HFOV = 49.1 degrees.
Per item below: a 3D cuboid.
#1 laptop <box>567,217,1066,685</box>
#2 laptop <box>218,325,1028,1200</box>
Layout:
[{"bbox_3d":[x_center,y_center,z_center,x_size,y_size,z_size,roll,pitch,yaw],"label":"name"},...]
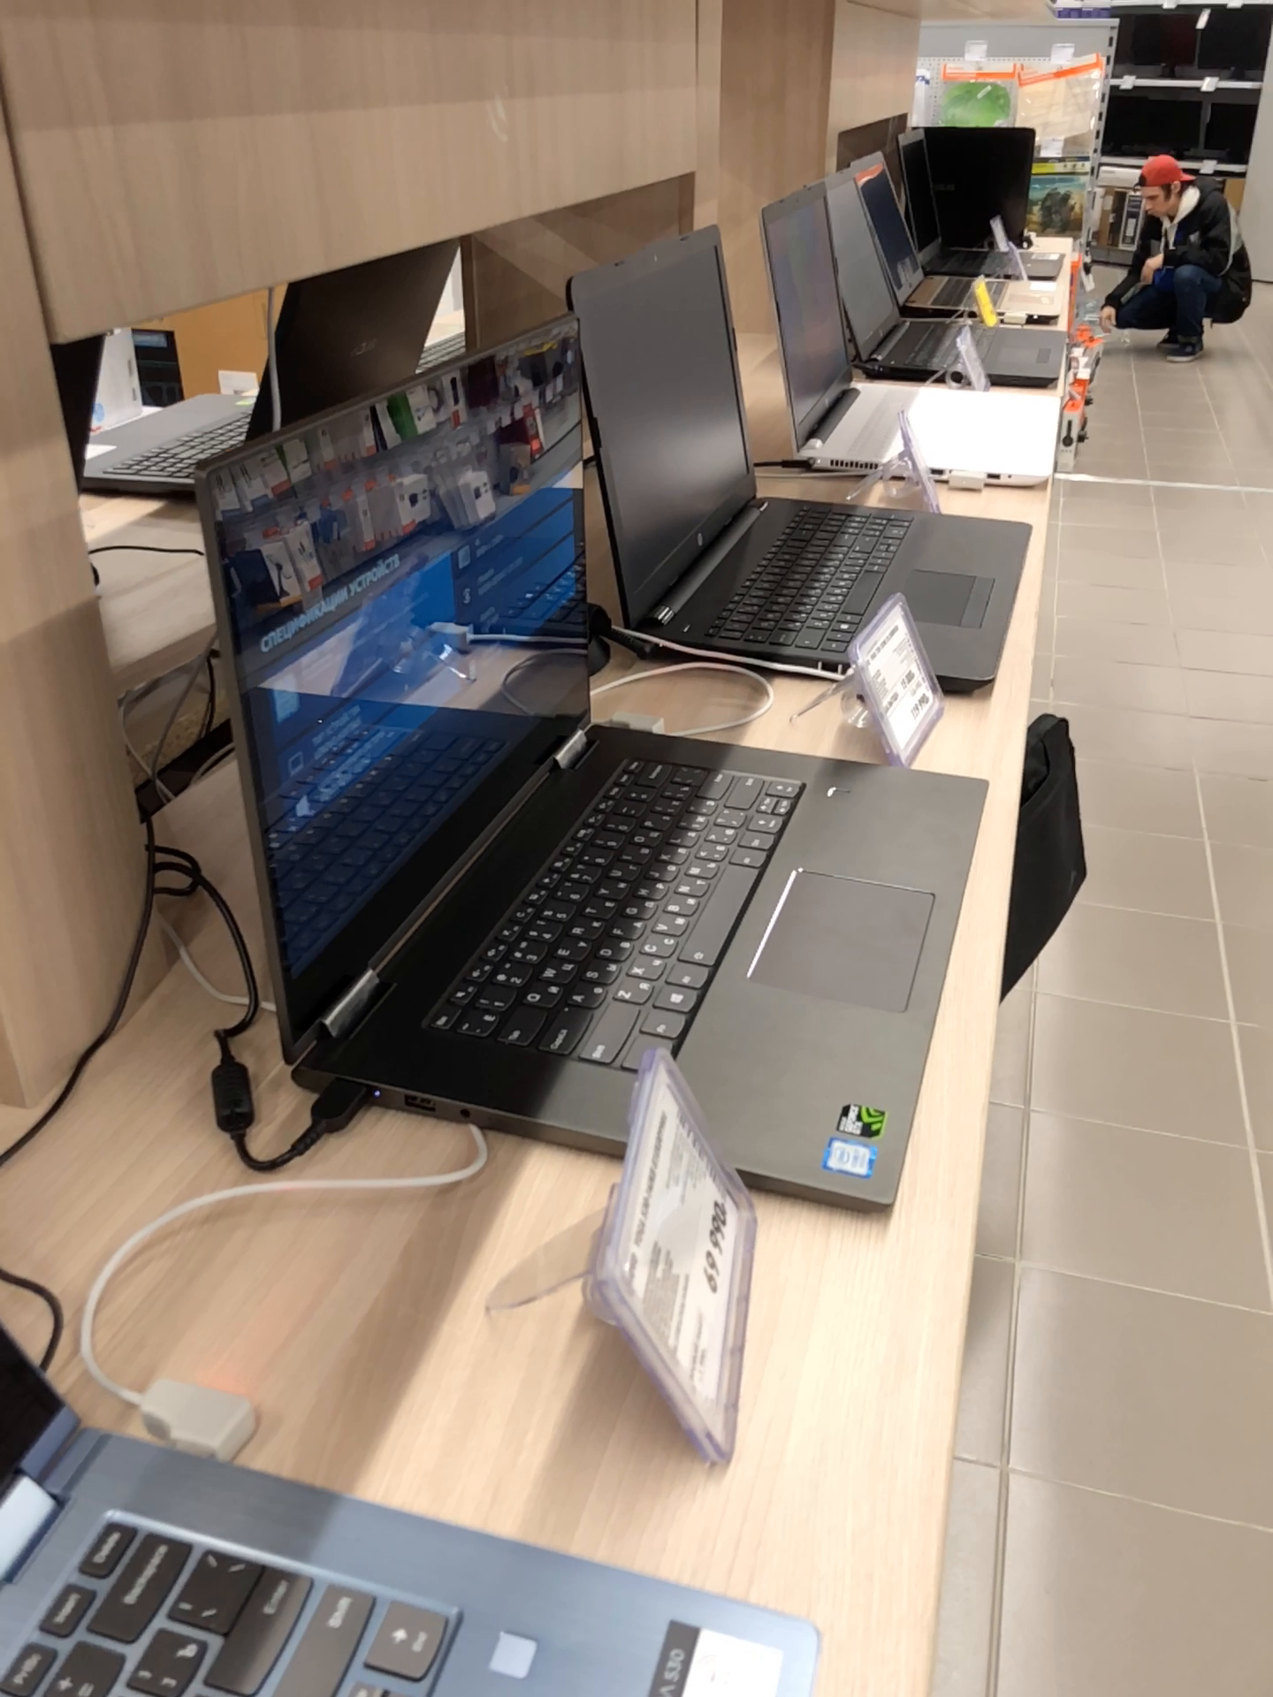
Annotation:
[{"bbox_3d":[0.140,-0.322,1.059,0.308,0.238,0.307,10,33,21],"label":"laptop"},{"bbox_3d":[0.028,-0.081,0.653,0.251,0.240,0.360,10,30,16],"label":"laptop"}]
